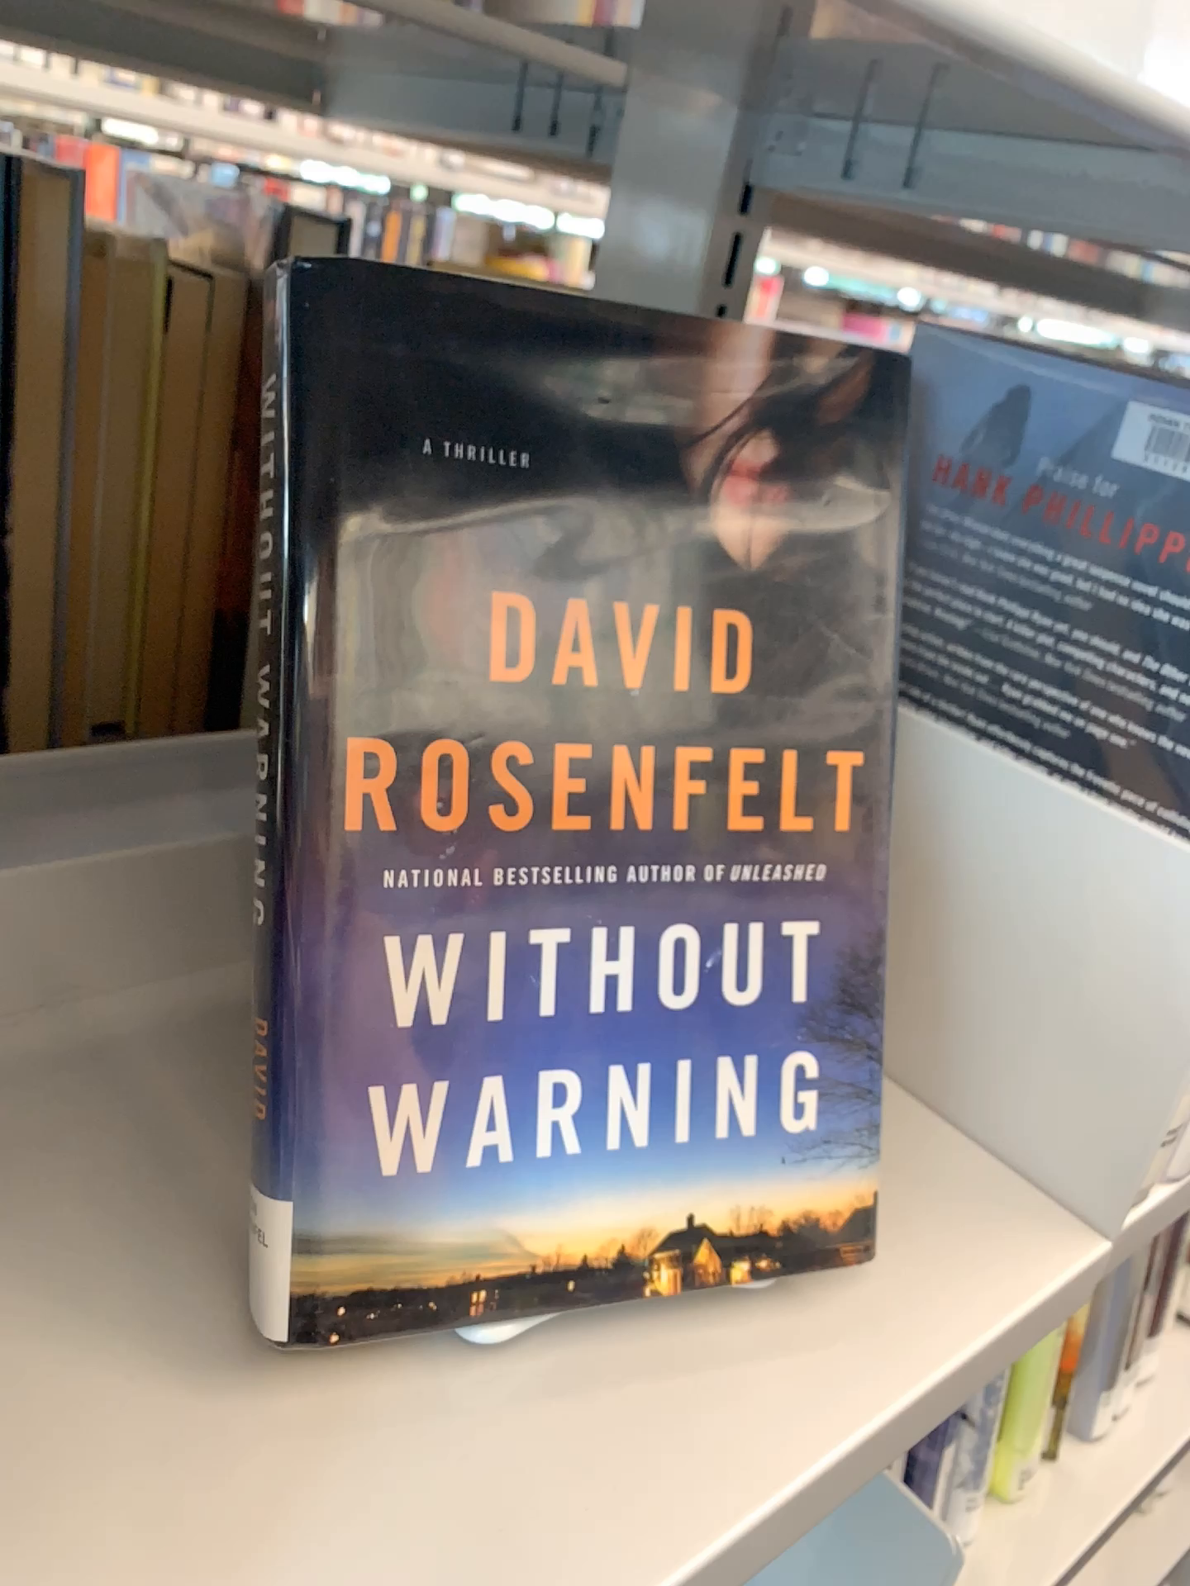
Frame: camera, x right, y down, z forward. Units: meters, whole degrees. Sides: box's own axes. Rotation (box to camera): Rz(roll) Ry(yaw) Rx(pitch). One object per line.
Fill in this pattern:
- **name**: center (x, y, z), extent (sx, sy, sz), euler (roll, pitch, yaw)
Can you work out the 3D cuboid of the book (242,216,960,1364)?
- **book**: center (0.003, 0.003, 0.295), extent (0.157, 0.230, 0.035), euler (1, 4, -23)
